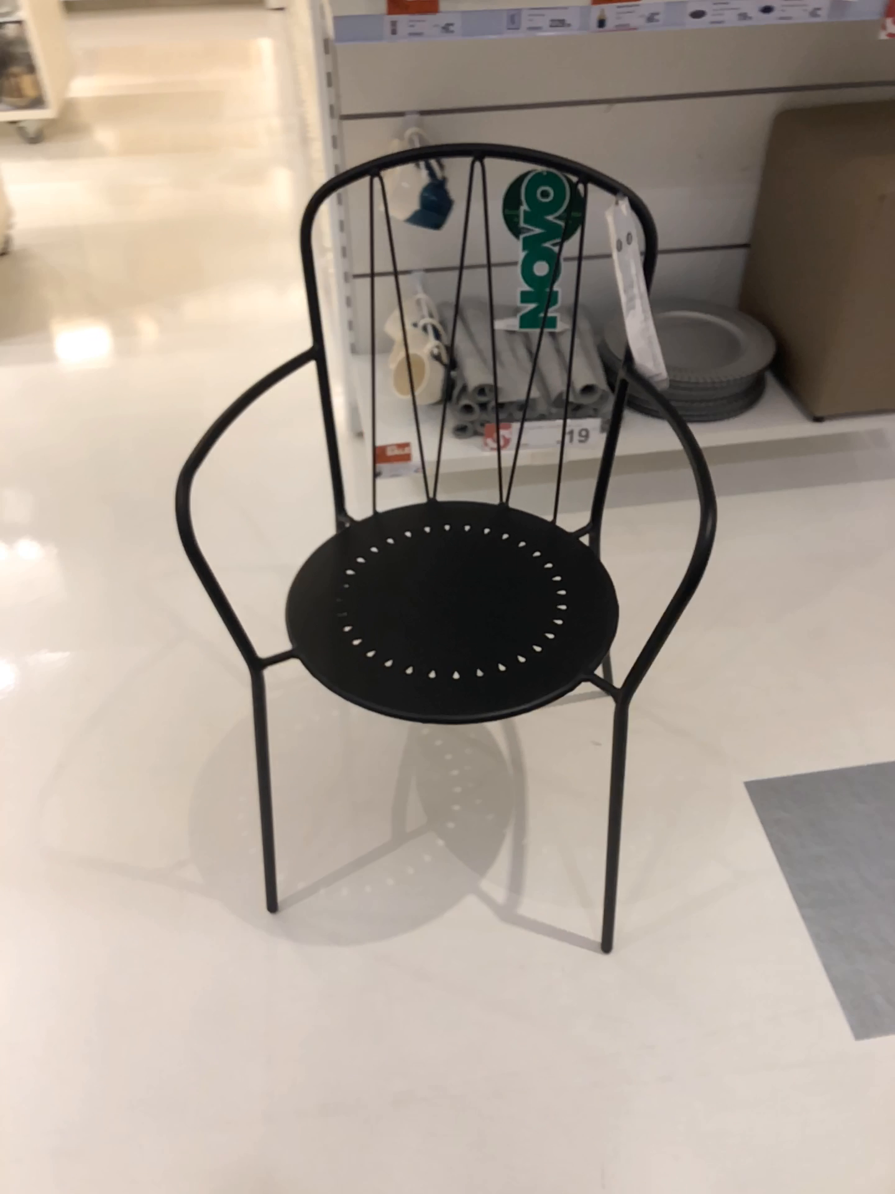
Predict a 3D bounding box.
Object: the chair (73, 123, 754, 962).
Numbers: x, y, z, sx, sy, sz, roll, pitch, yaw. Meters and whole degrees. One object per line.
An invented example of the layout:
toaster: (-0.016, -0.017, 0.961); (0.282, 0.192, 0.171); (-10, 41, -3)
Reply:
chair: (0.012, -0.050, 1.211); (0.510, 0.814, 0.564); (5, 43, 7)
